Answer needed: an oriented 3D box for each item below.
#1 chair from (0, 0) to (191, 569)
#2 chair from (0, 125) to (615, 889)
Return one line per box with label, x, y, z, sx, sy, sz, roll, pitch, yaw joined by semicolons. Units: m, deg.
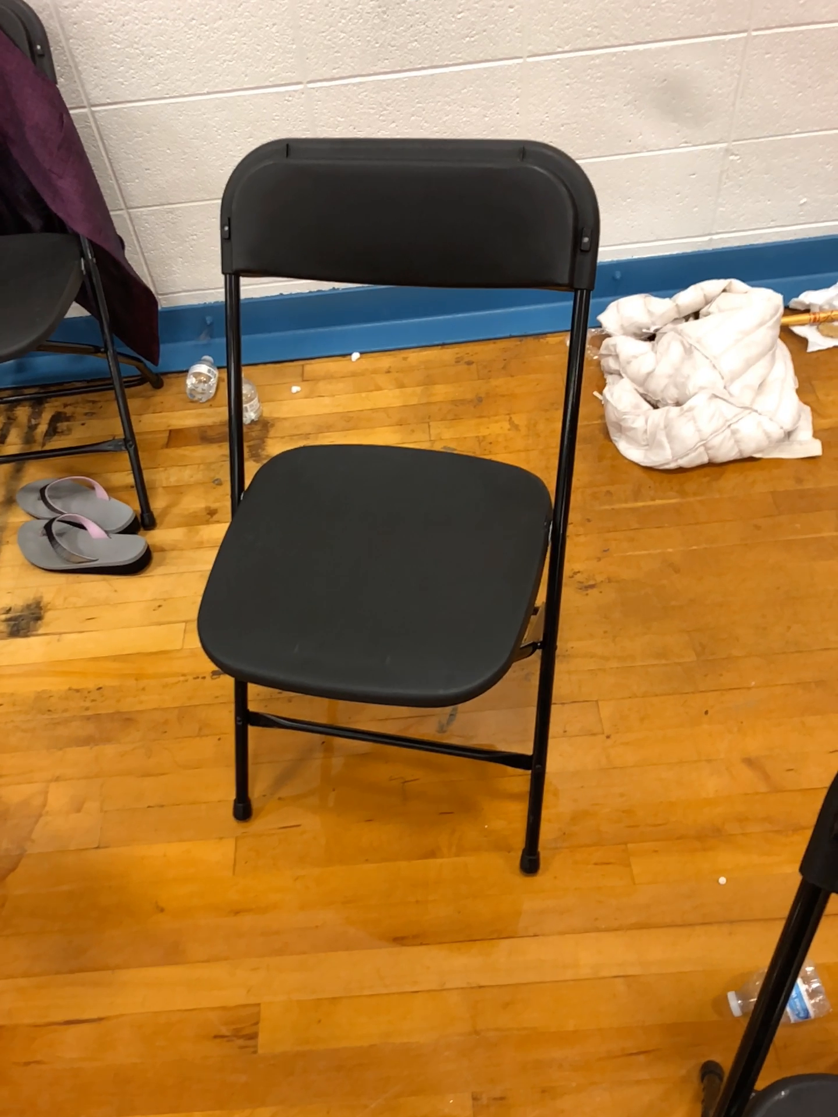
chair;-0.769;-0.470;1.575;0.481;0.790;0.546;-6;48;2
chair;-0.045;-0.040;1.107;0.471;0.720;0.526;6;49;12
